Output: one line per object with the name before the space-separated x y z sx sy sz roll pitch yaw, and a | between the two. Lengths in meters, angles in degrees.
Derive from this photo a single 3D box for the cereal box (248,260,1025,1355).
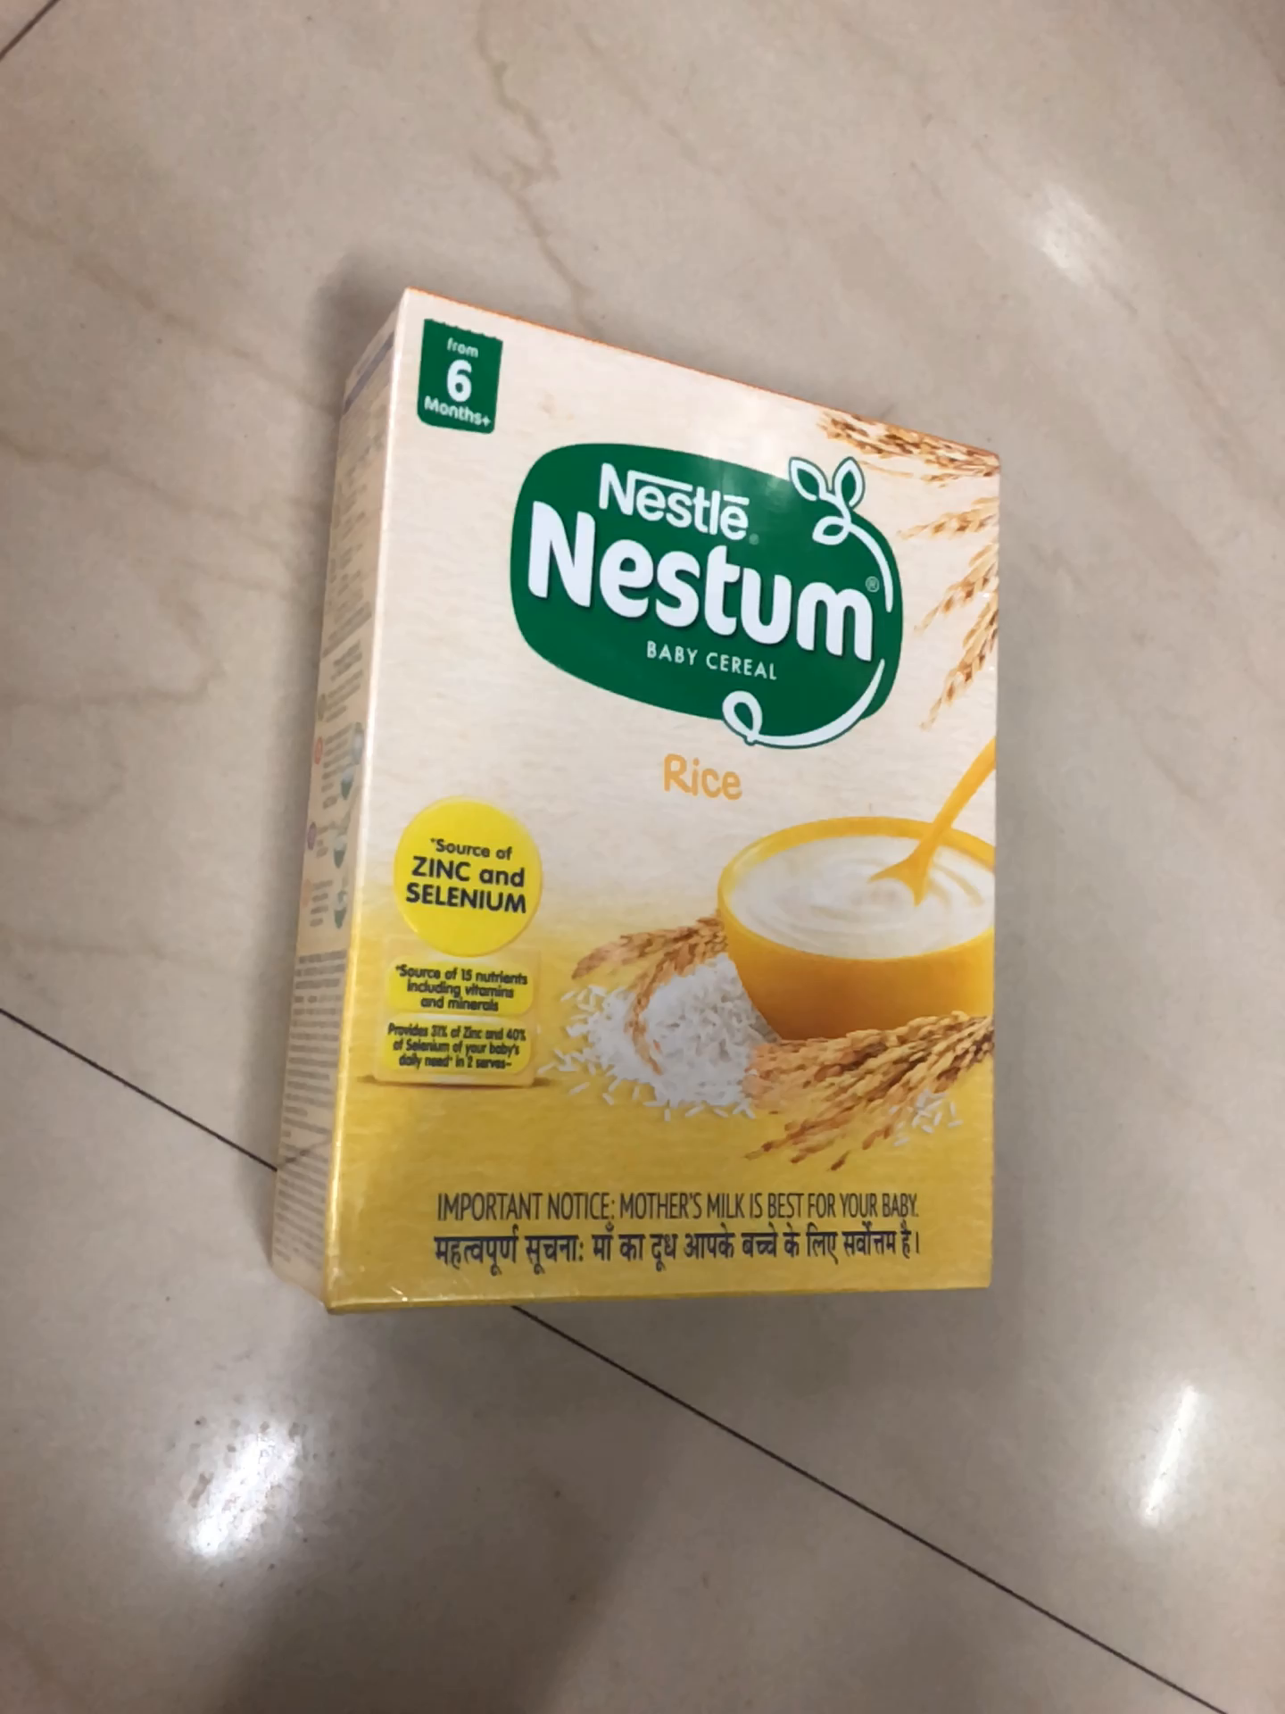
cereal box | 0.004 -0.003 0.314 0.150 0.060 0.200 7 81 -25
